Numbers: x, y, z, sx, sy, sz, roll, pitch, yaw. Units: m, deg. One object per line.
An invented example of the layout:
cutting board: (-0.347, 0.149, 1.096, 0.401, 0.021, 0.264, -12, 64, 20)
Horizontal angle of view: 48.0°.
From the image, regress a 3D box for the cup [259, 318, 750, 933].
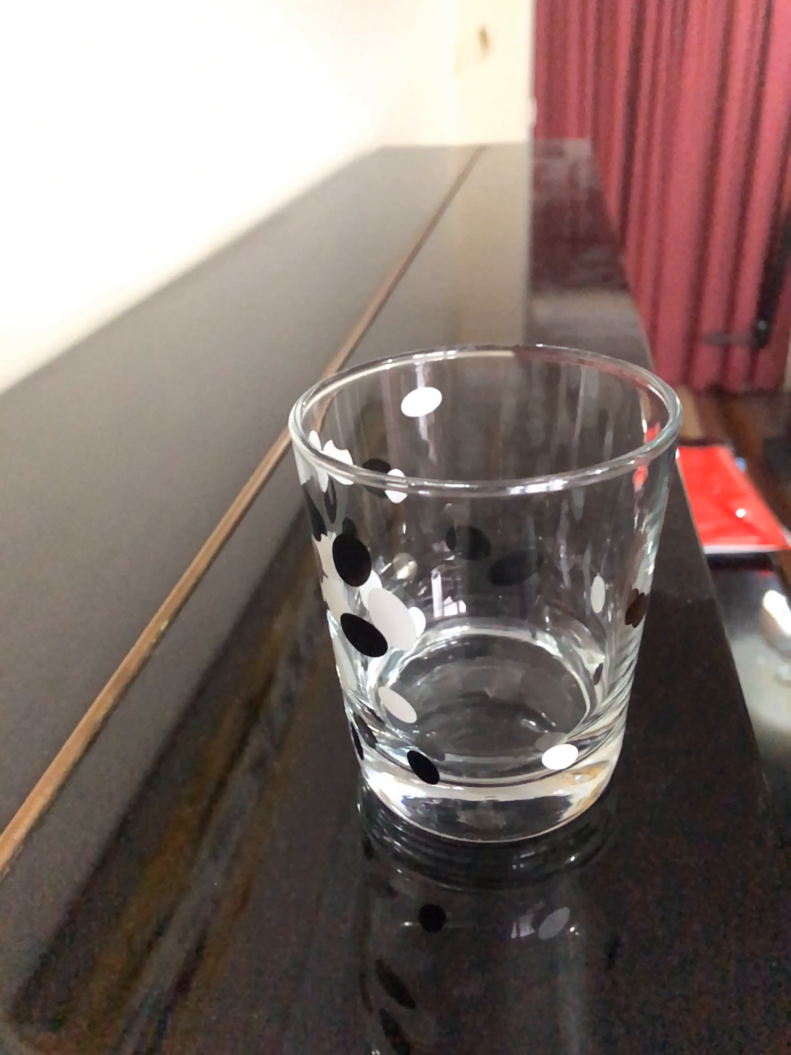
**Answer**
cup: (0.019, 0.015, 0.205, 0.070, 0.099, 0.080, -14, 29, -19)
